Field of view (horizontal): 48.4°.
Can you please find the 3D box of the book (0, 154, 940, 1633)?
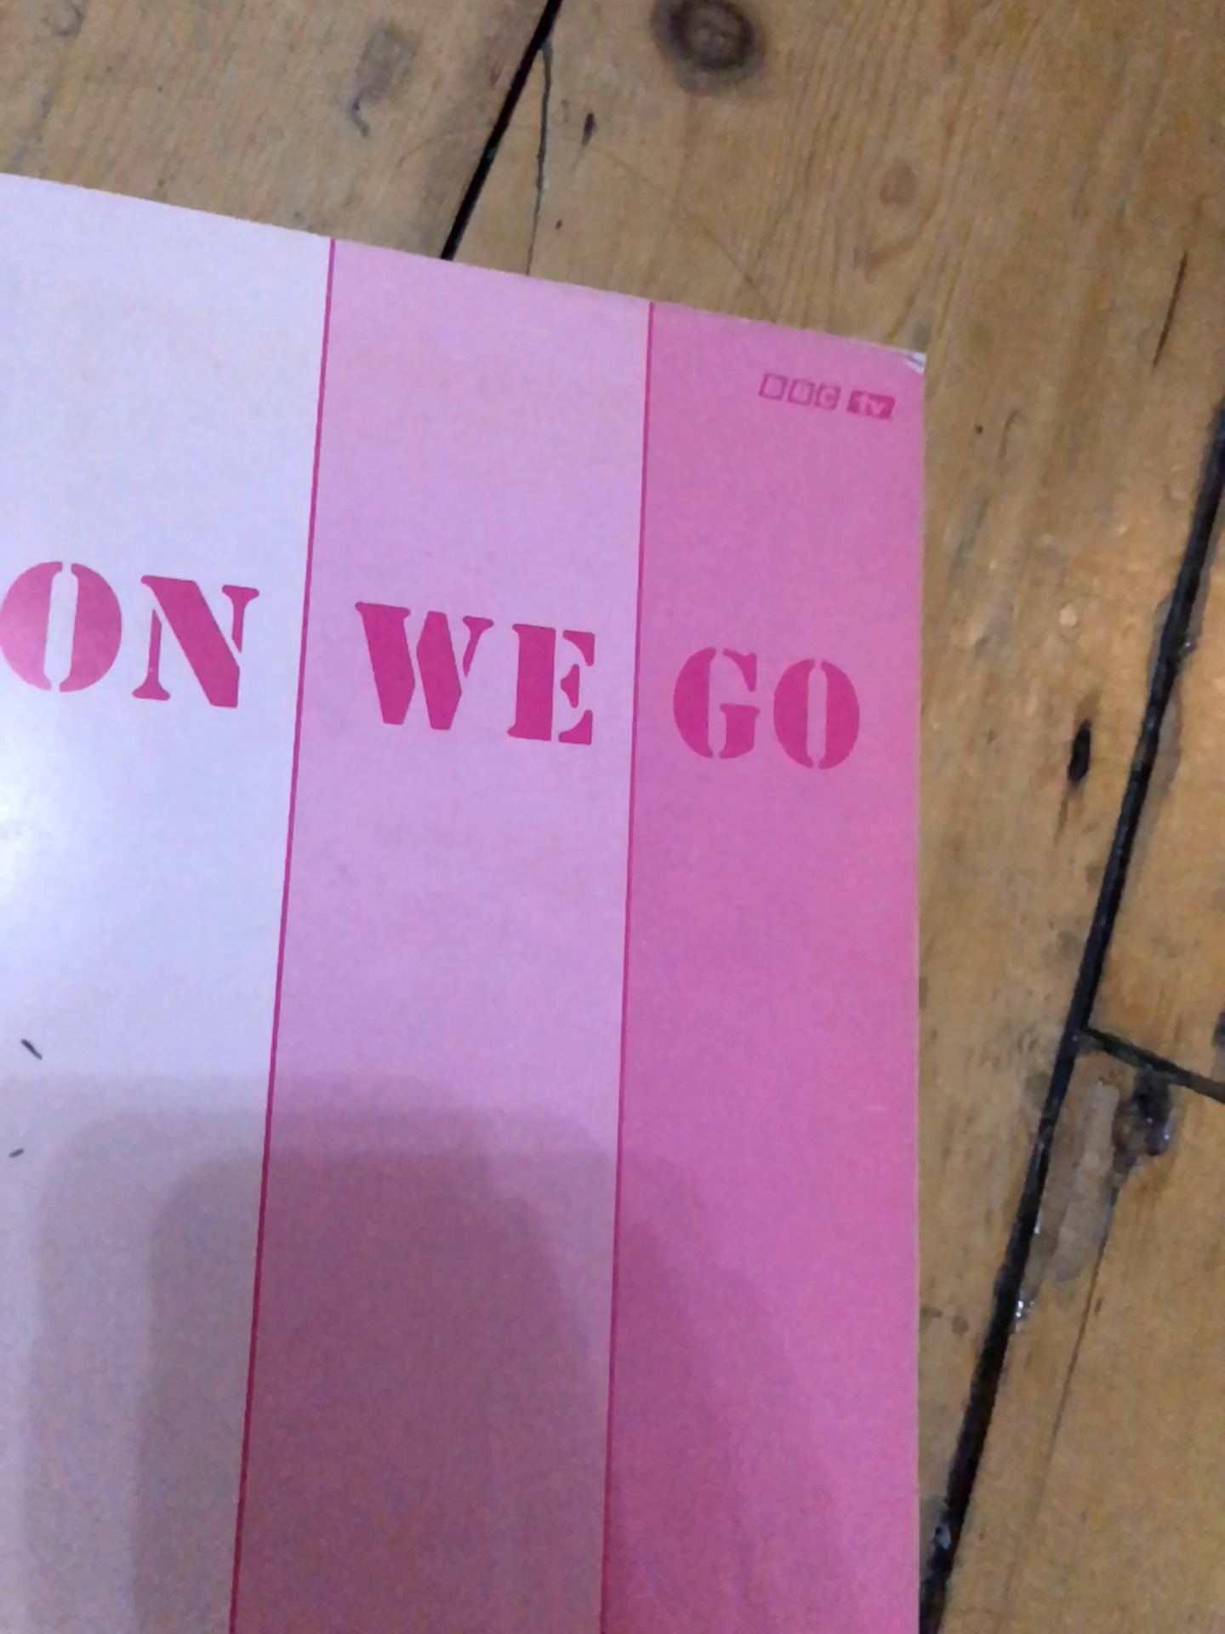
[{"bbox_3d":[-0.026,0.025,0.207,0.160,0.020,0.220,4,82,-18],"label":"book"}]
